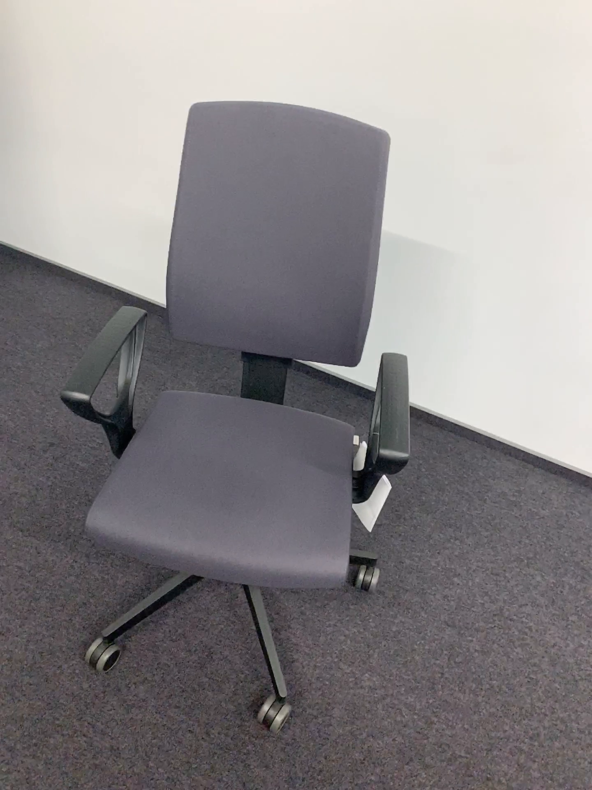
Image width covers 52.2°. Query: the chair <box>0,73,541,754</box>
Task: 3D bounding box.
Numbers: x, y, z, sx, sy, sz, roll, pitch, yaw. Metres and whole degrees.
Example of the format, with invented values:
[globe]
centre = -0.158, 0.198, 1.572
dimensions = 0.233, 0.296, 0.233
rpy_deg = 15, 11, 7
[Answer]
[chair]
centre = -0.088, 0.037, 1.253
dimensions = 0.700, 1.034, 0.784
rpy_deg = 11, 39, 4
